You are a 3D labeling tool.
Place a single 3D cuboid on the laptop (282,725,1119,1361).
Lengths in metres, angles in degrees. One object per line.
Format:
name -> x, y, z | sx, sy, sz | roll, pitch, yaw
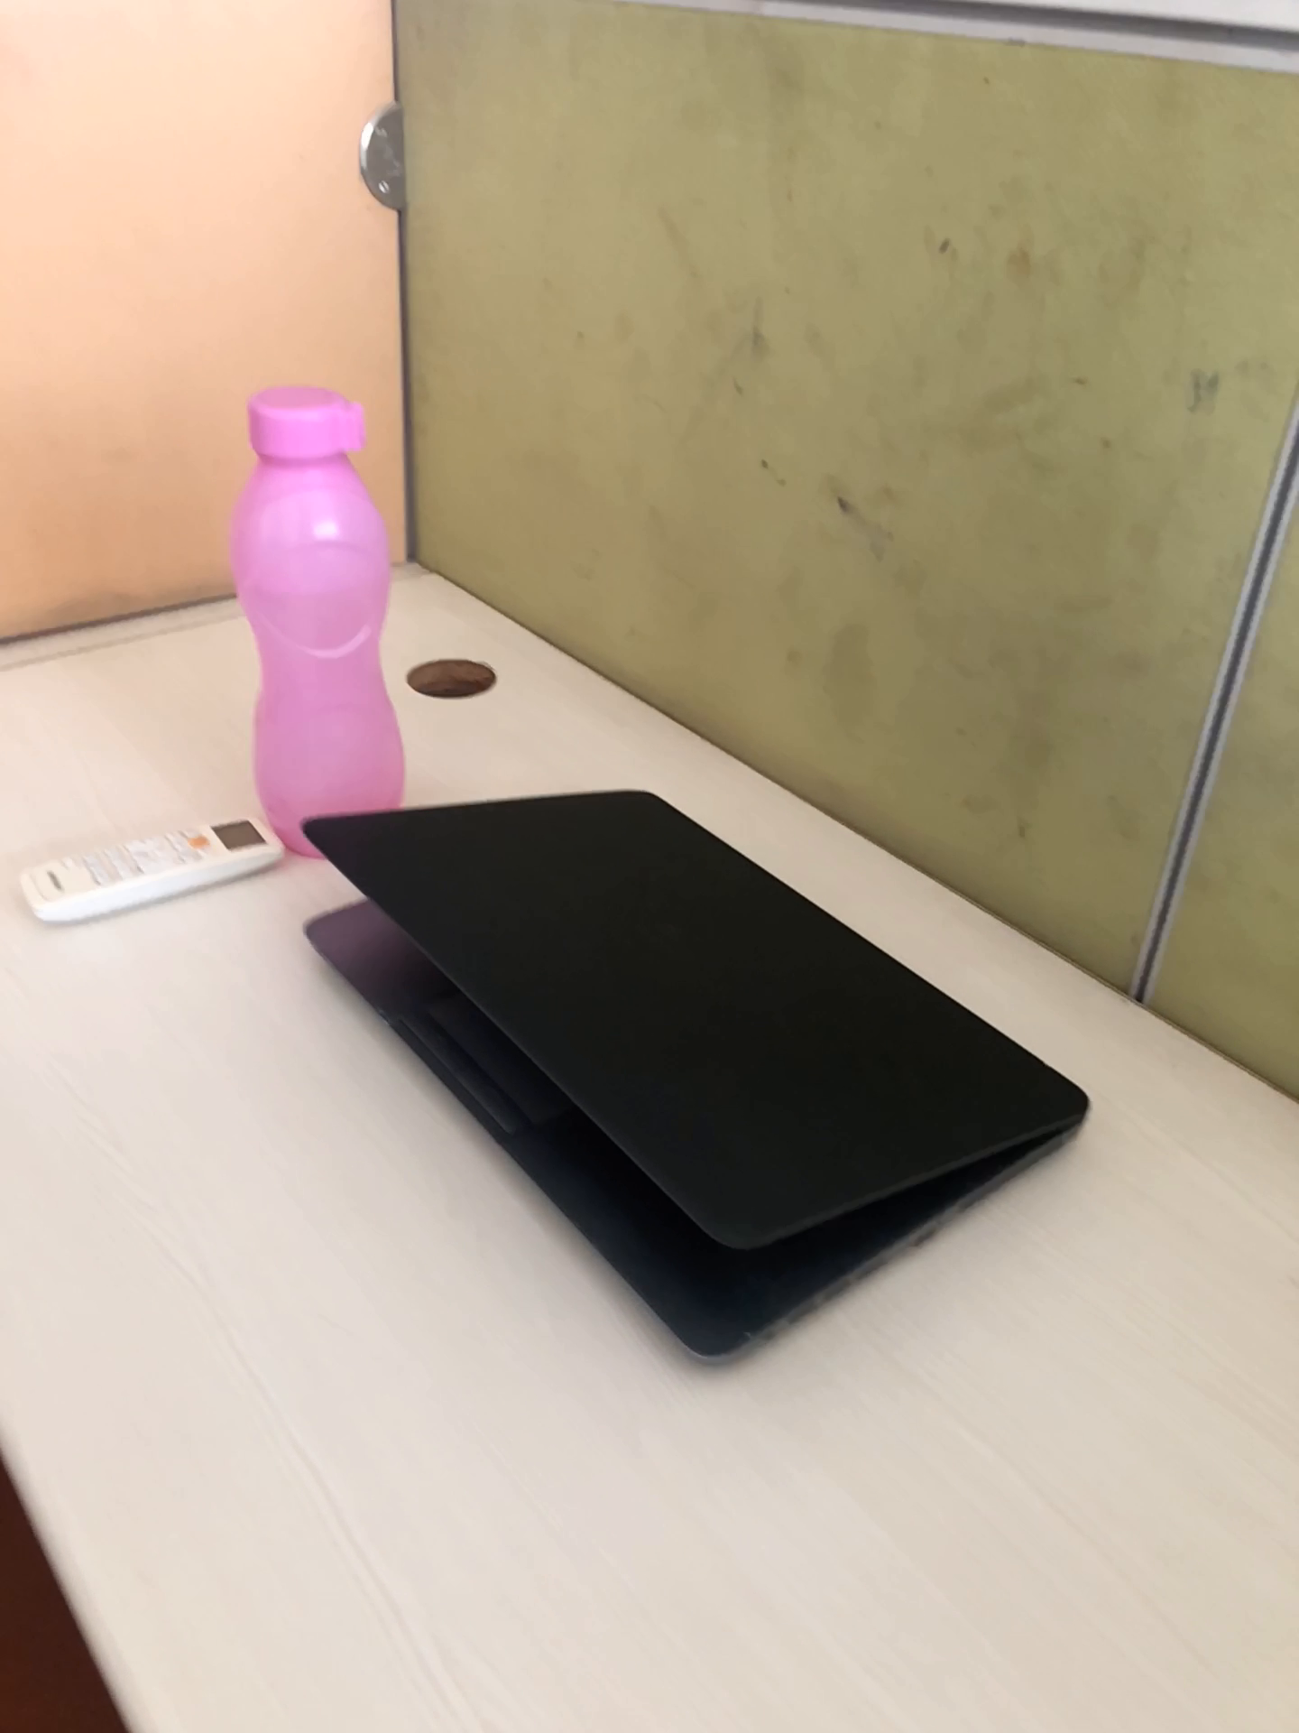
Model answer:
laptop -> 0.007, 0.049, 0.671 | 0.226, 0.050, 0.331 | -22, 40, -31
